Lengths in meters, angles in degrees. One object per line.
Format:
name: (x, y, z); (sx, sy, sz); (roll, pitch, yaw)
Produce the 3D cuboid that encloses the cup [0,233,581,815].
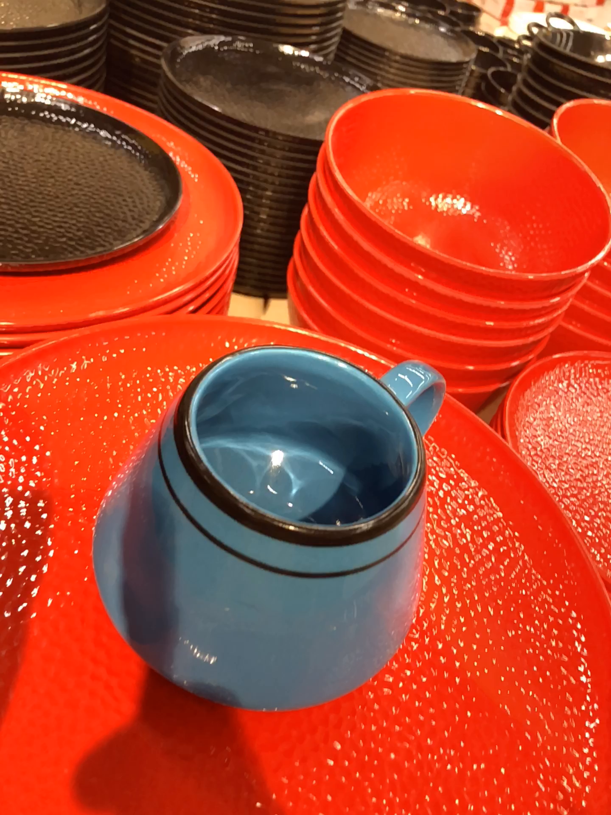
cup: (-0.003, 0.026, 0.228); (0.110, 0.089, 0.141); (37, 45, 20)
